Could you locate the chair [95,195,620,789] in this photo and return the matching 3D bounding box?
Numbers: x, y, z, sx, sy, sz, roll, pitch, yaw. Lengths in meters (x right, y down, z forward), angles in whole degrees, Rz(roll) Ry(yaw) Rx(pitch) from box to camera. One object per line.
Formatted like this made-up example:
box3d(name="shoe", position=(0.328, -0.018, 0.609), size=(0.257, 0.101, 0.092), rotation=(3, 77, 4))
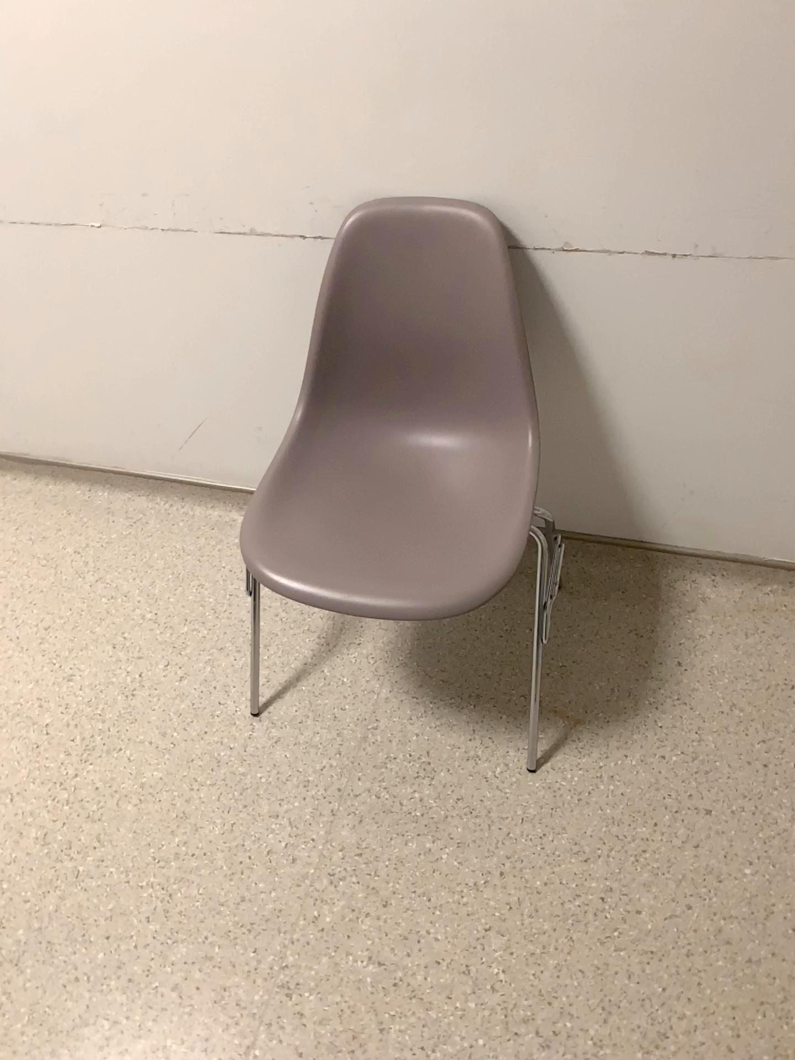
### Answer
box3d(name="chair", position=(0.016, -0.058, 1.371), size=(0.581, 0.783, 0.544), rotation=(8, 47, 15))
